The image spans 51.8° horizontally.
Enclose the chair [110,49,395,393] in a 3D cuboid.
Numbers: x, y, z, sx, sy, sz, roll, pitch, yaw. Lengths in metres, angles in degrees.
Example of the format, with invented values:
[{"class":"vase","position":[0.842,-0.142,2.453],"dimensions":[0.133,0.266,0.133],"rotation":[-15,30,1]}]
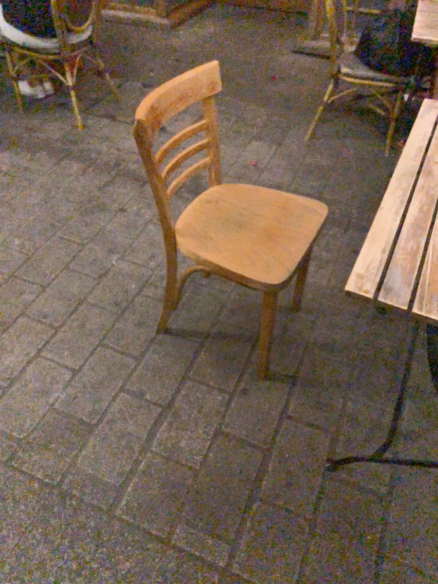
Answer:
[{"class":"chair","position":[0.101,-0.206,1.370],"dimensions":[0.541,0.763,0.514],"rotation":[20,48,17]}]
